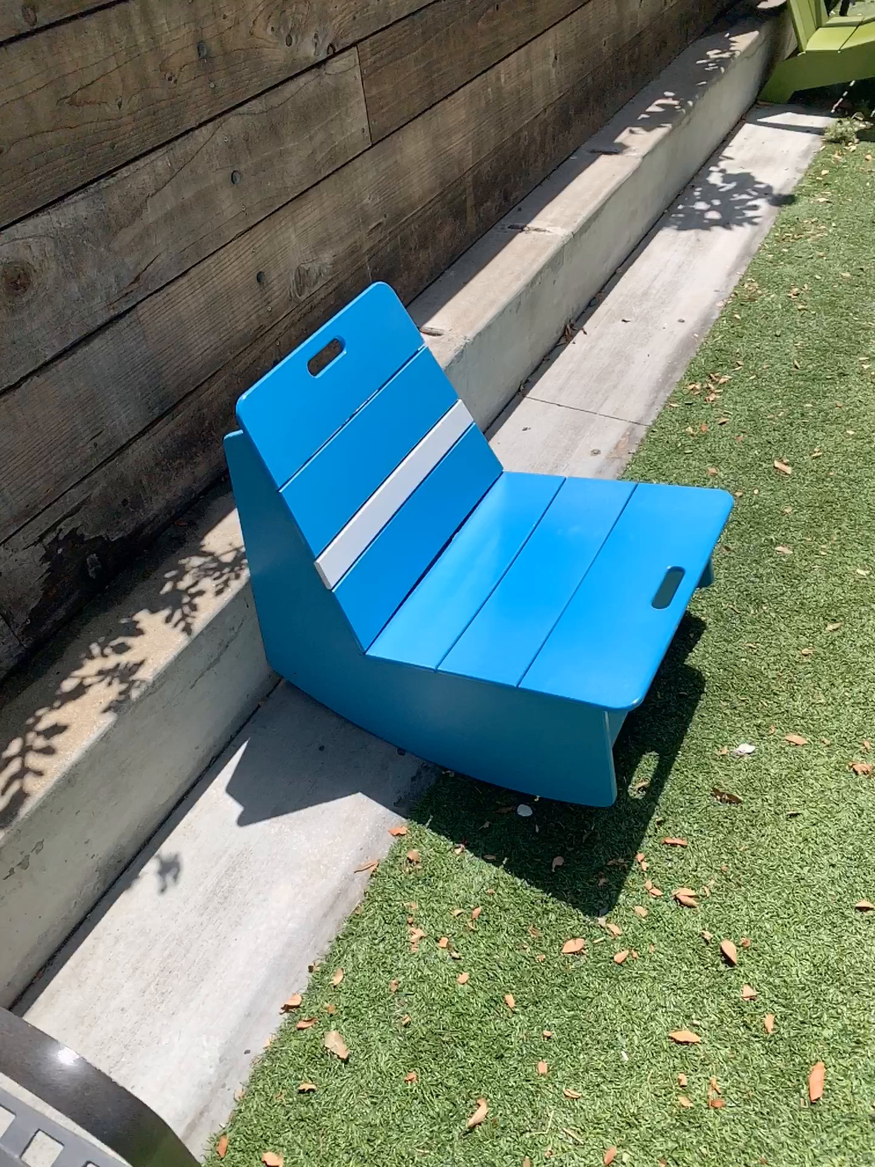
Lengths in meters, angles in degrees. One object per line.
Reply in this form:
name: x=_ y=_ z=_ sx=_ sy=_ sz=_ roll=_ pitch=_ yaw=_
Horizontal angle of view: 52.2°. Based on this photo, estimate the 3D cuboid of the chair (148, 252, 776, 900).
chair: x=0.069 y=-0.036 z=1.564 sx=0.722 sy=0.746 sz=0.592 roll=20 pitch=50 yaw=24
